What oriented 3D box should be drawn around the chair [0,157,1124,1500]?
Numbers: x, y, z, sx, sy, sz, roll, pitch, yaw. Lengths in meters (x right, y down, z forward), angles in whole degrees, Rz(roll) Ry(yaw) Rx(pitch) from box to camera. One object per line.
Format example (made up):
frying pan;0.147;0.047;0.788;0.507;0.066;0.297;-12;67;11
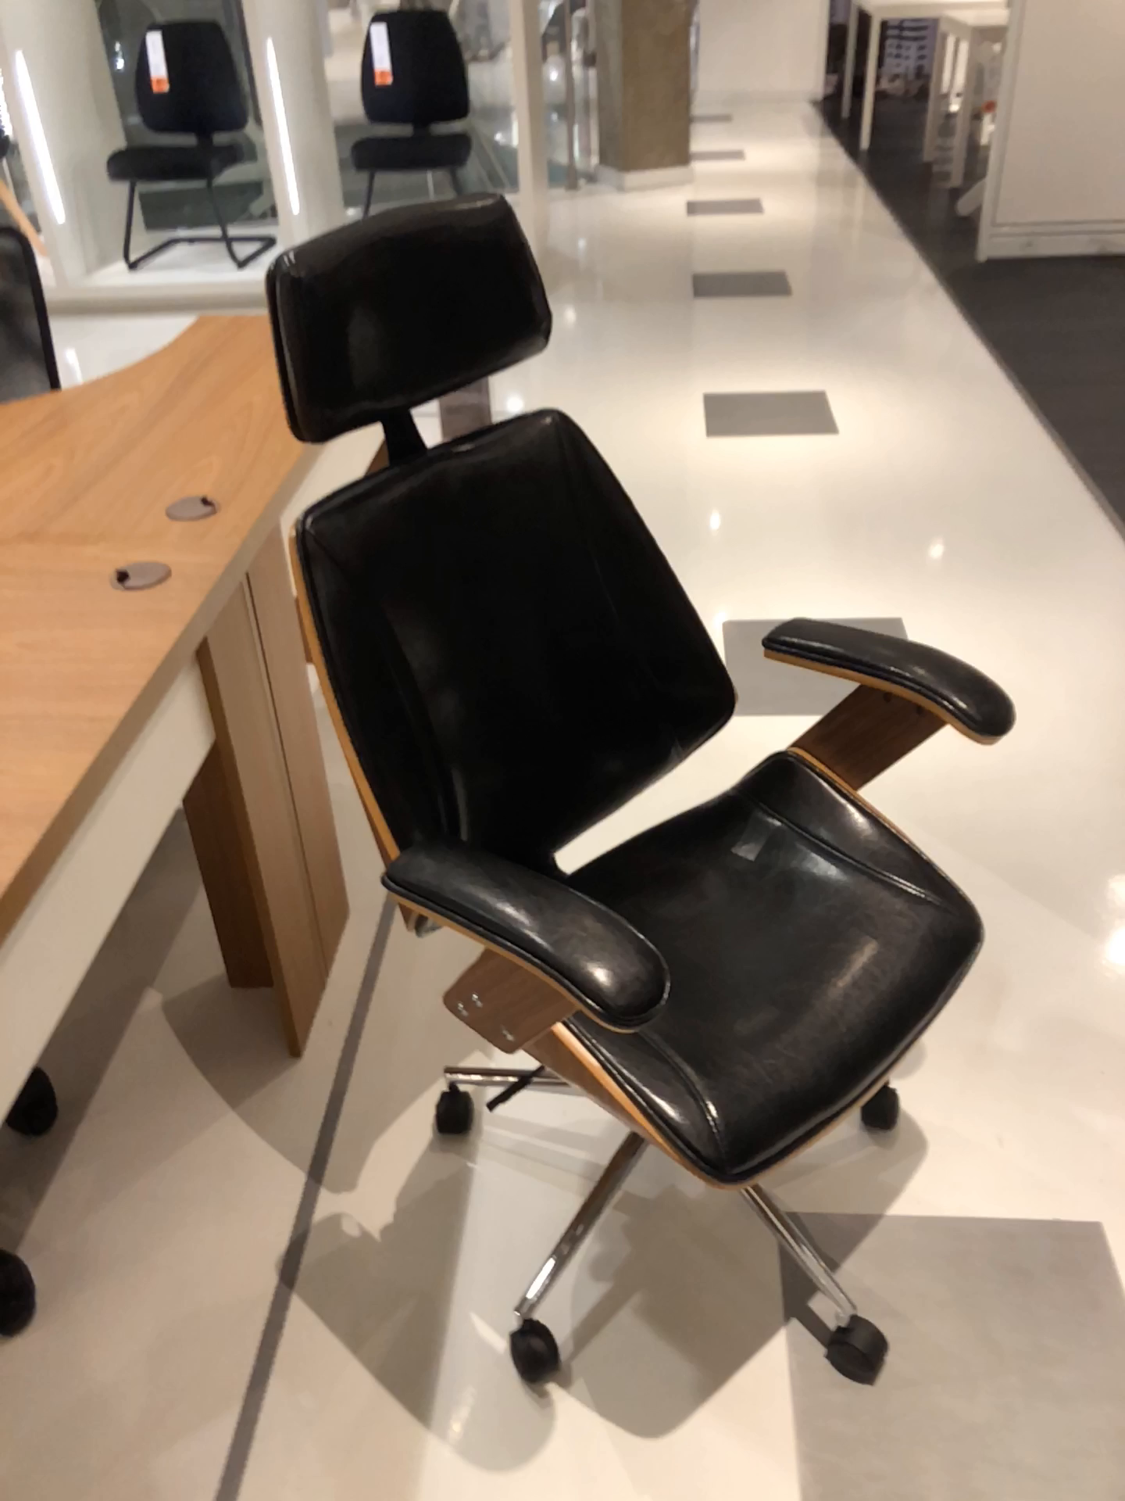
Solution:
chair;0.095;0.067;1.302;0.762;1.101;0.723;25;43;35
